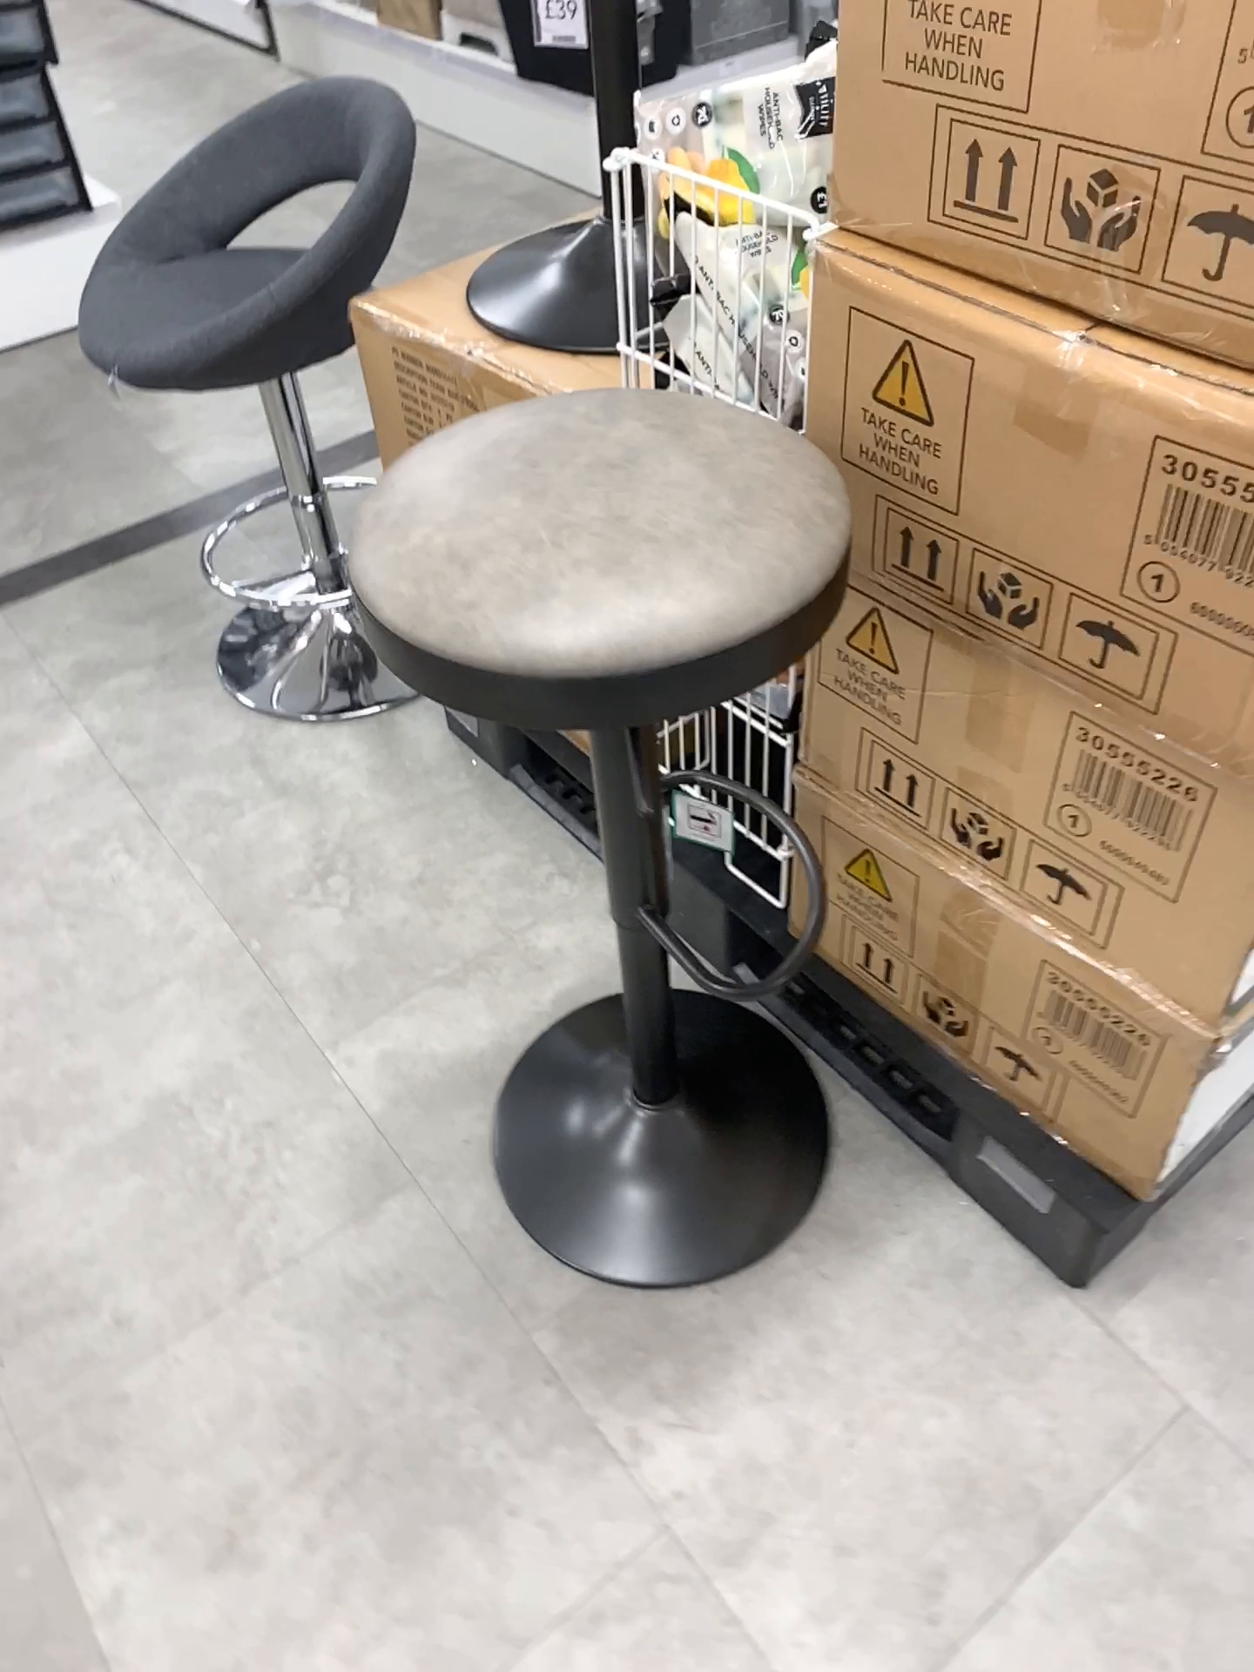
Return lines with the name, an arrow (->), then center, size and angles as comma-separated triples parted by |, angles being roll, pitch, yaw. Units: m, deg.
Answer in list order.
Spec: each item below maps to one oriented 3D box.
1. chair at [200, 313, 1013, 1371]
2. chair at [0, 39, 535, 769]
chair -> -0.029, 0.028, 1.145 | 0.433, 0.740, 0.461 | -17, 46, -13
chair -> -0.488, -0.590, 1.757 | 0.454, 0.721, 0.511 | -28, 49, -22
